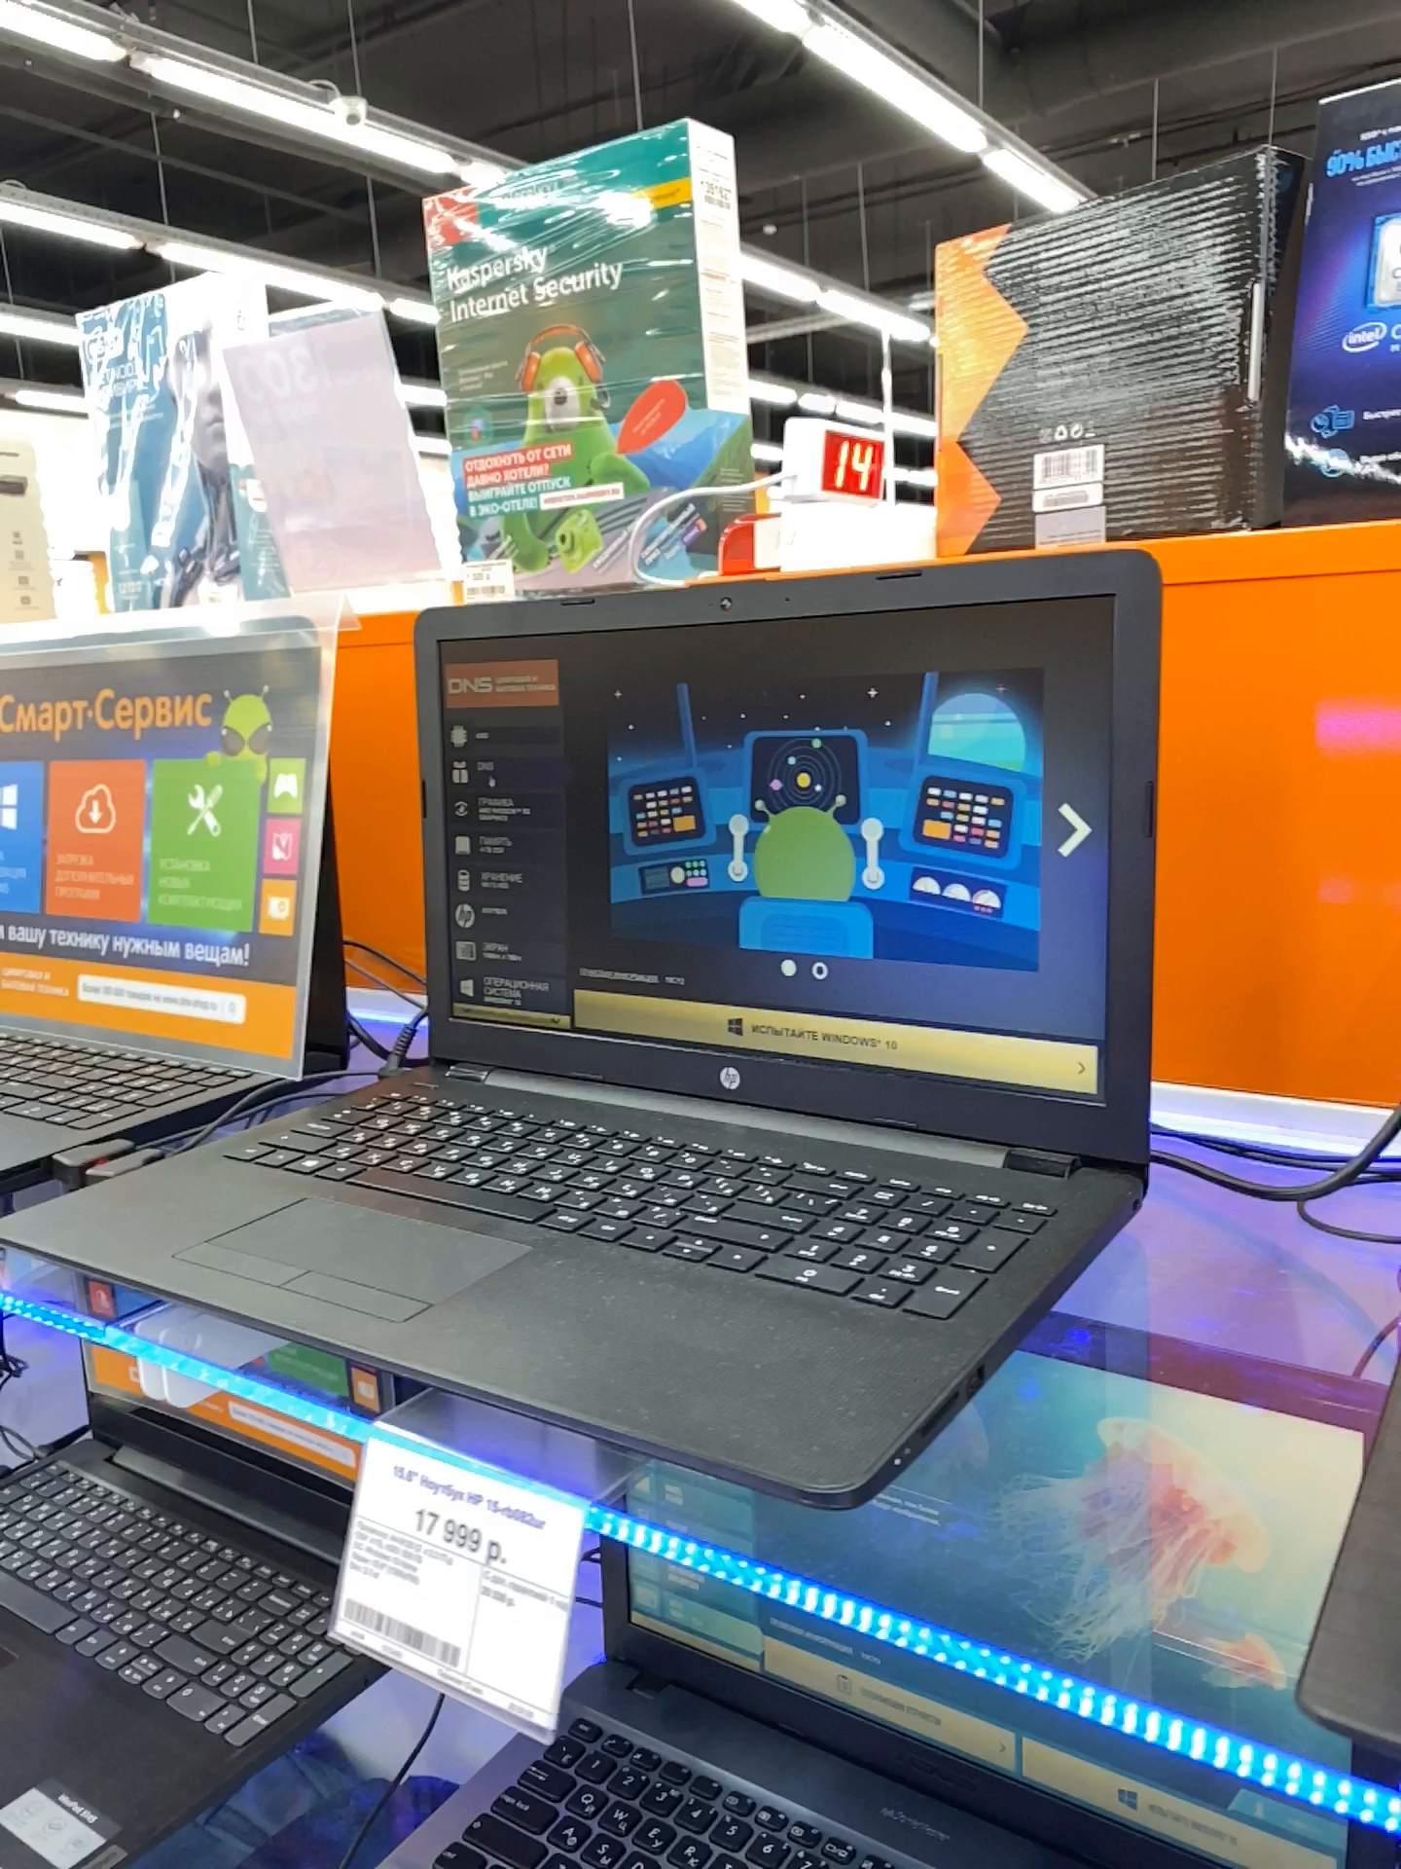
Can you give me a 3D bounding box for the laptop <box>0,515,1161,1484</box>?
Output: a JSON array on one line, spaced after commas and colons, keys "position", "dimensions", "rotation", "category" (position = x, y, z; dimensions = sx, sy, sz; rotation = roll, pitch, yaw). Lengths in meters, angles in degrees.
[{"position": [-0.052, -0.014, 0.544], "dimensions": [0.369, 0.231, 0.271], "rotation": [4, 12, 32], "category": "laptop"}]
